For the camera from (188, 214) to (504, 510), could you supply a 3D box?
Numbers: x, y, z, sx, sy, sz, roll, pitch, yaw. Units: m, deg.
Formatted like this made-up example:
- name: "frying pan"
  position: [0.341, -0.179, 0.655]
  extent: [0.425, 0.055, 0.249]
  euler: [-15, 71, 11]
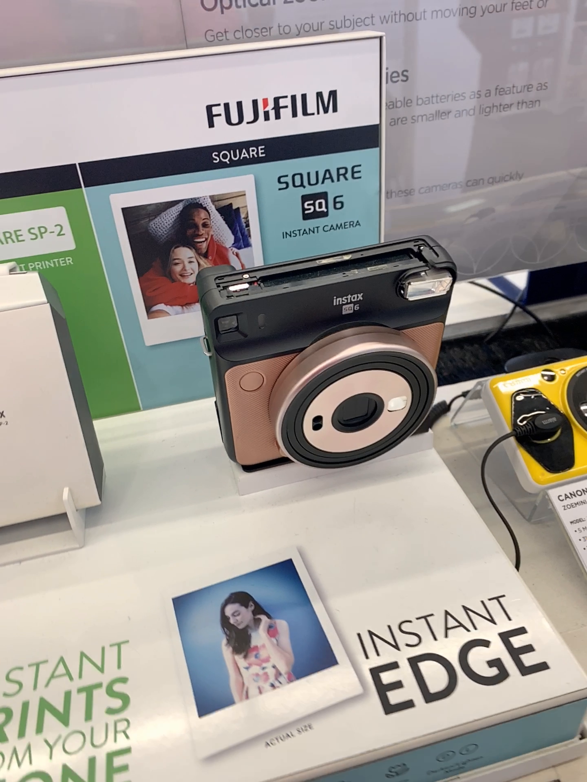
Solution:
- name: "camera"
  position: [0.022, -0.013, 0.316]
  extent: [0.130, 0.119, 0.061]
  euler: [-13, 45, -12]
